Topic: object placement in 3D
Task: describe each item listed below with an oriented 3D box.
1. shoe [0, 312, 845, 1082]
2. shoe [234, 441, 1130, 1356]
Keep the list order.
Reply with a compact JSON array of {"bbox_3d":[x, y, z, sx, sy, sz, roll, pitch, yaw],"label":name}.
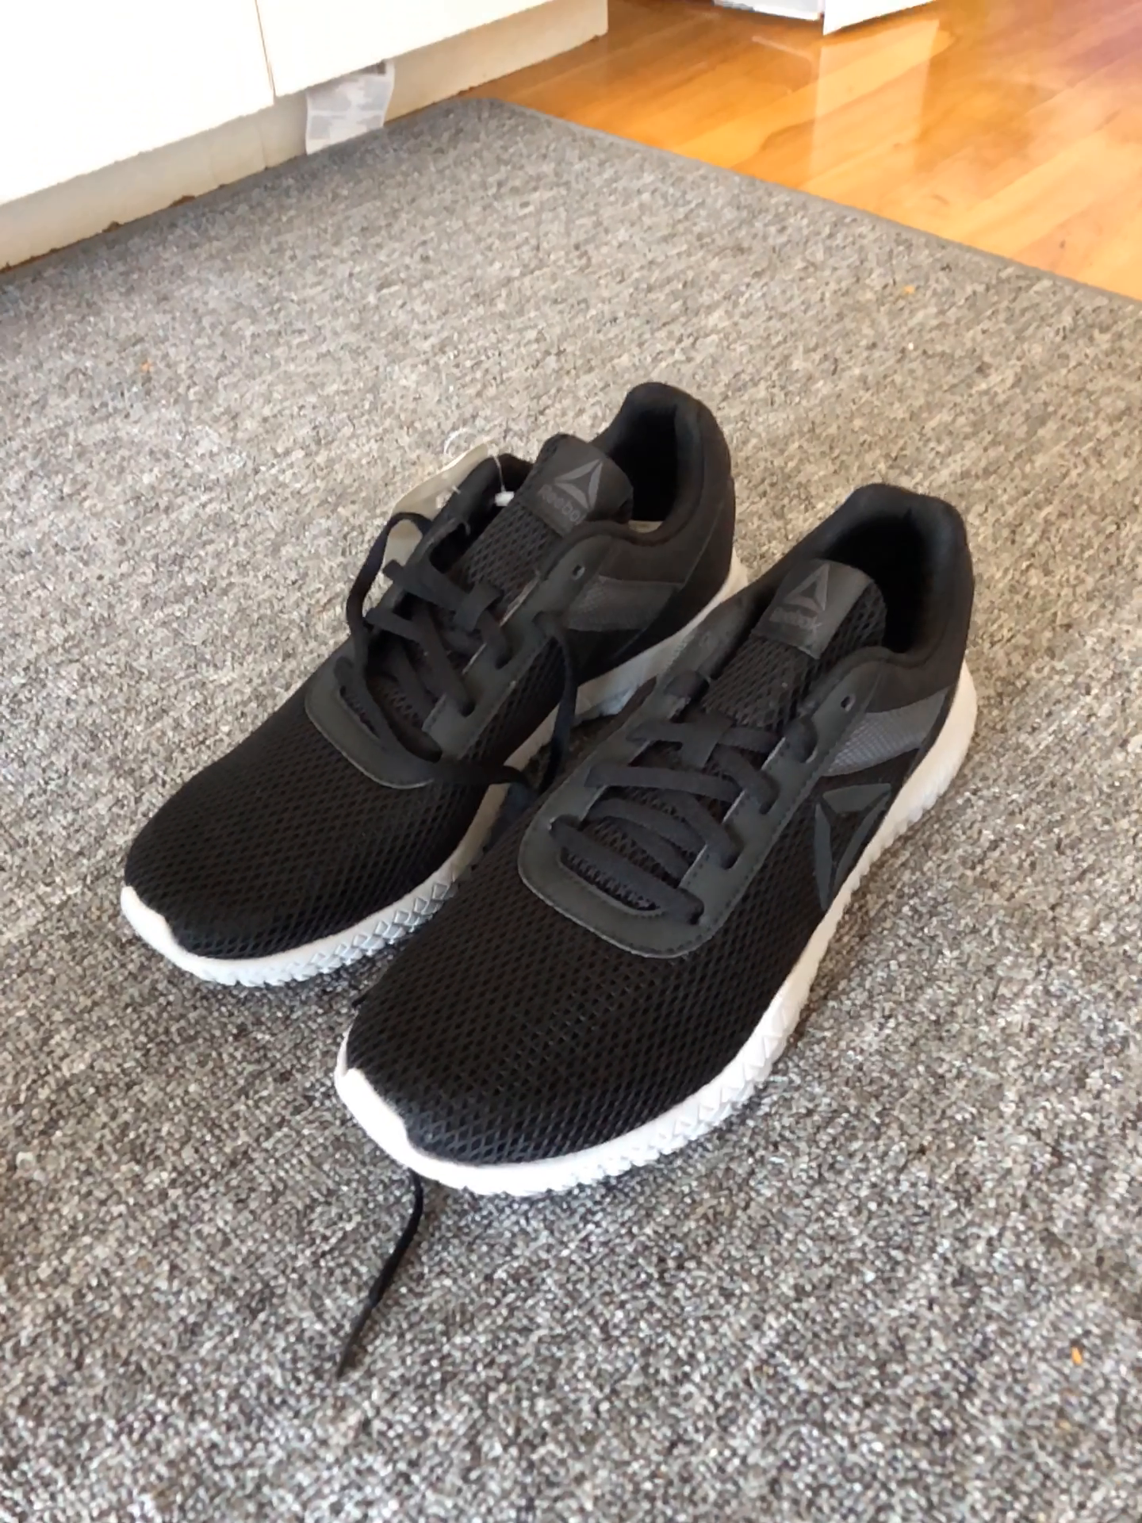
[{"bbox_3d":[-0.041,-0.044,0.457,0.117,0.099,0.301,32,55,29],"label":"shoe"},{"bbox_3d":[0.053,0.020,0.415,0.111,0.099,0.301,31,54,28],"label":"shoe"}]
